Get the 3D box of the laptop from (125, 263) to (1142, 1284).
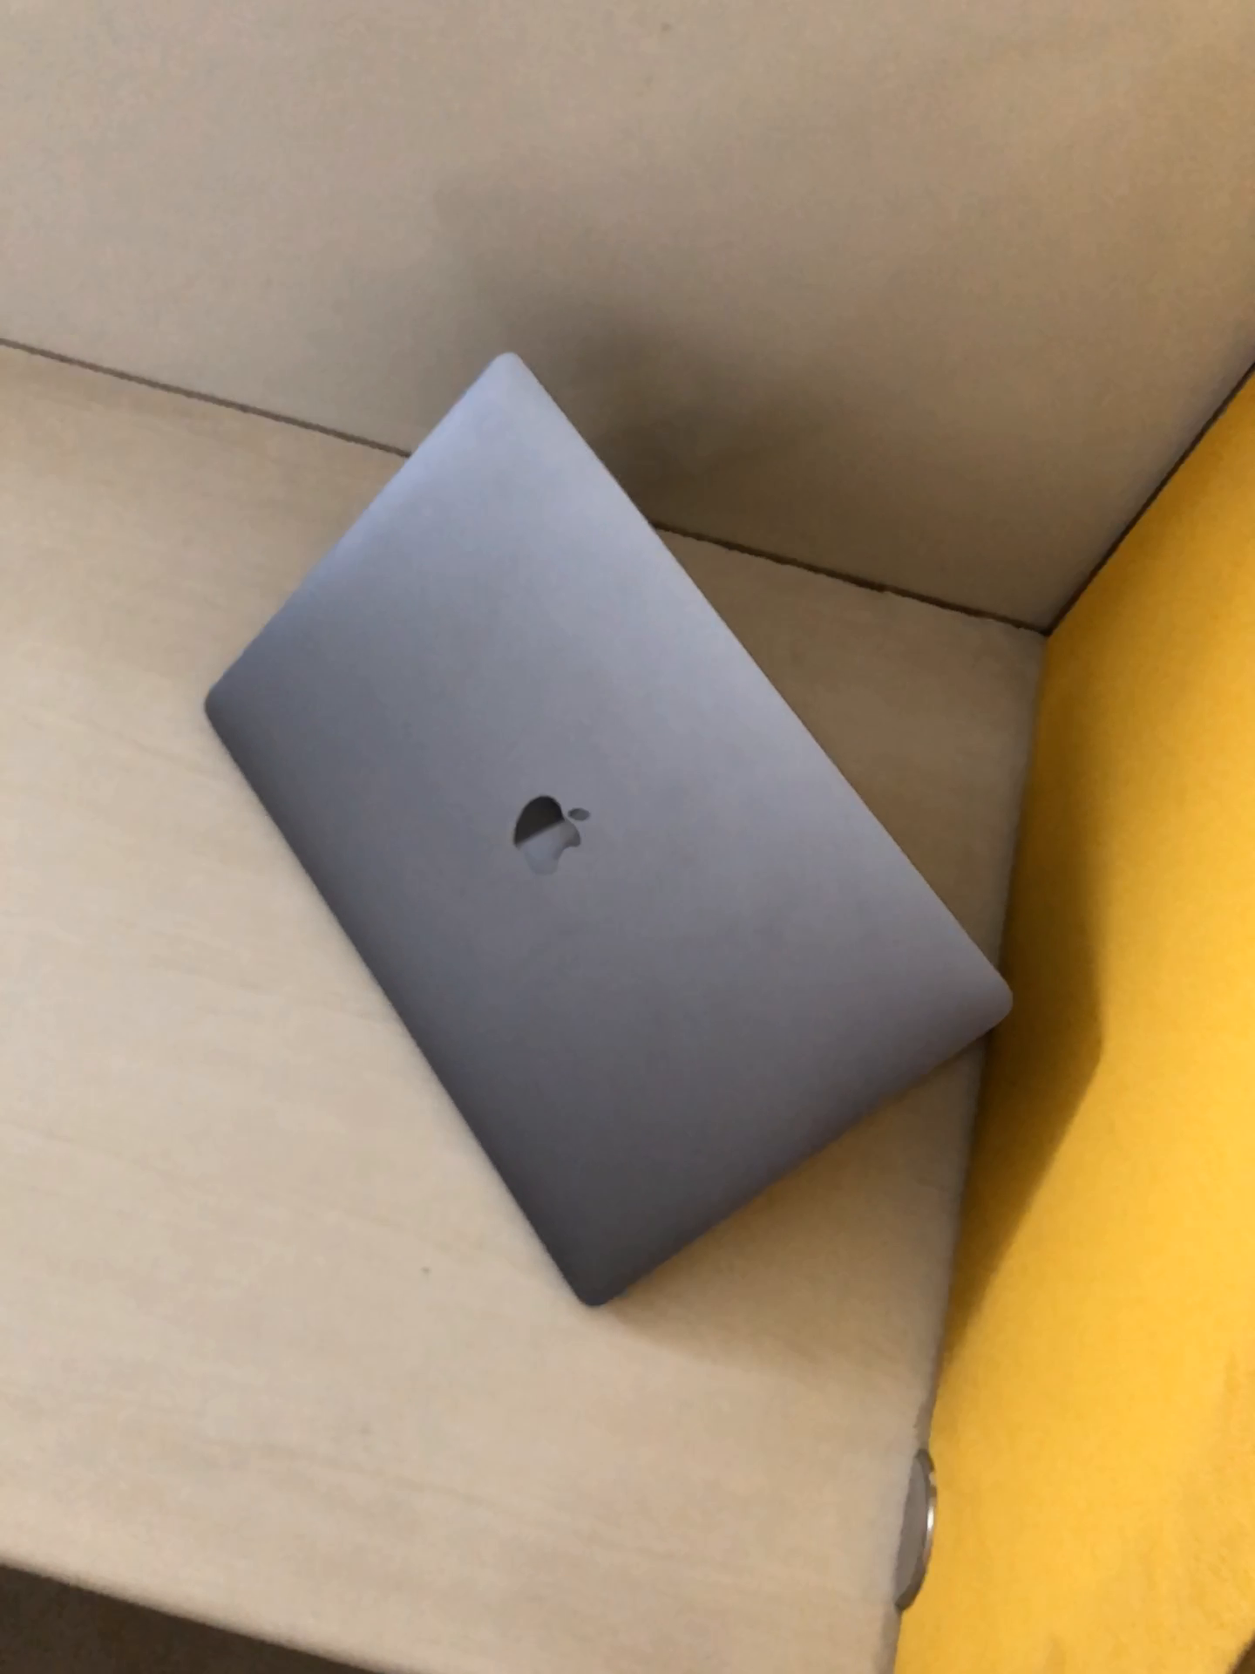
[{"bbox_3d":[-0.008,-0.027,0.608,0.236,0.152,0.345,-32,77,-15],"label":"laptop"}]
